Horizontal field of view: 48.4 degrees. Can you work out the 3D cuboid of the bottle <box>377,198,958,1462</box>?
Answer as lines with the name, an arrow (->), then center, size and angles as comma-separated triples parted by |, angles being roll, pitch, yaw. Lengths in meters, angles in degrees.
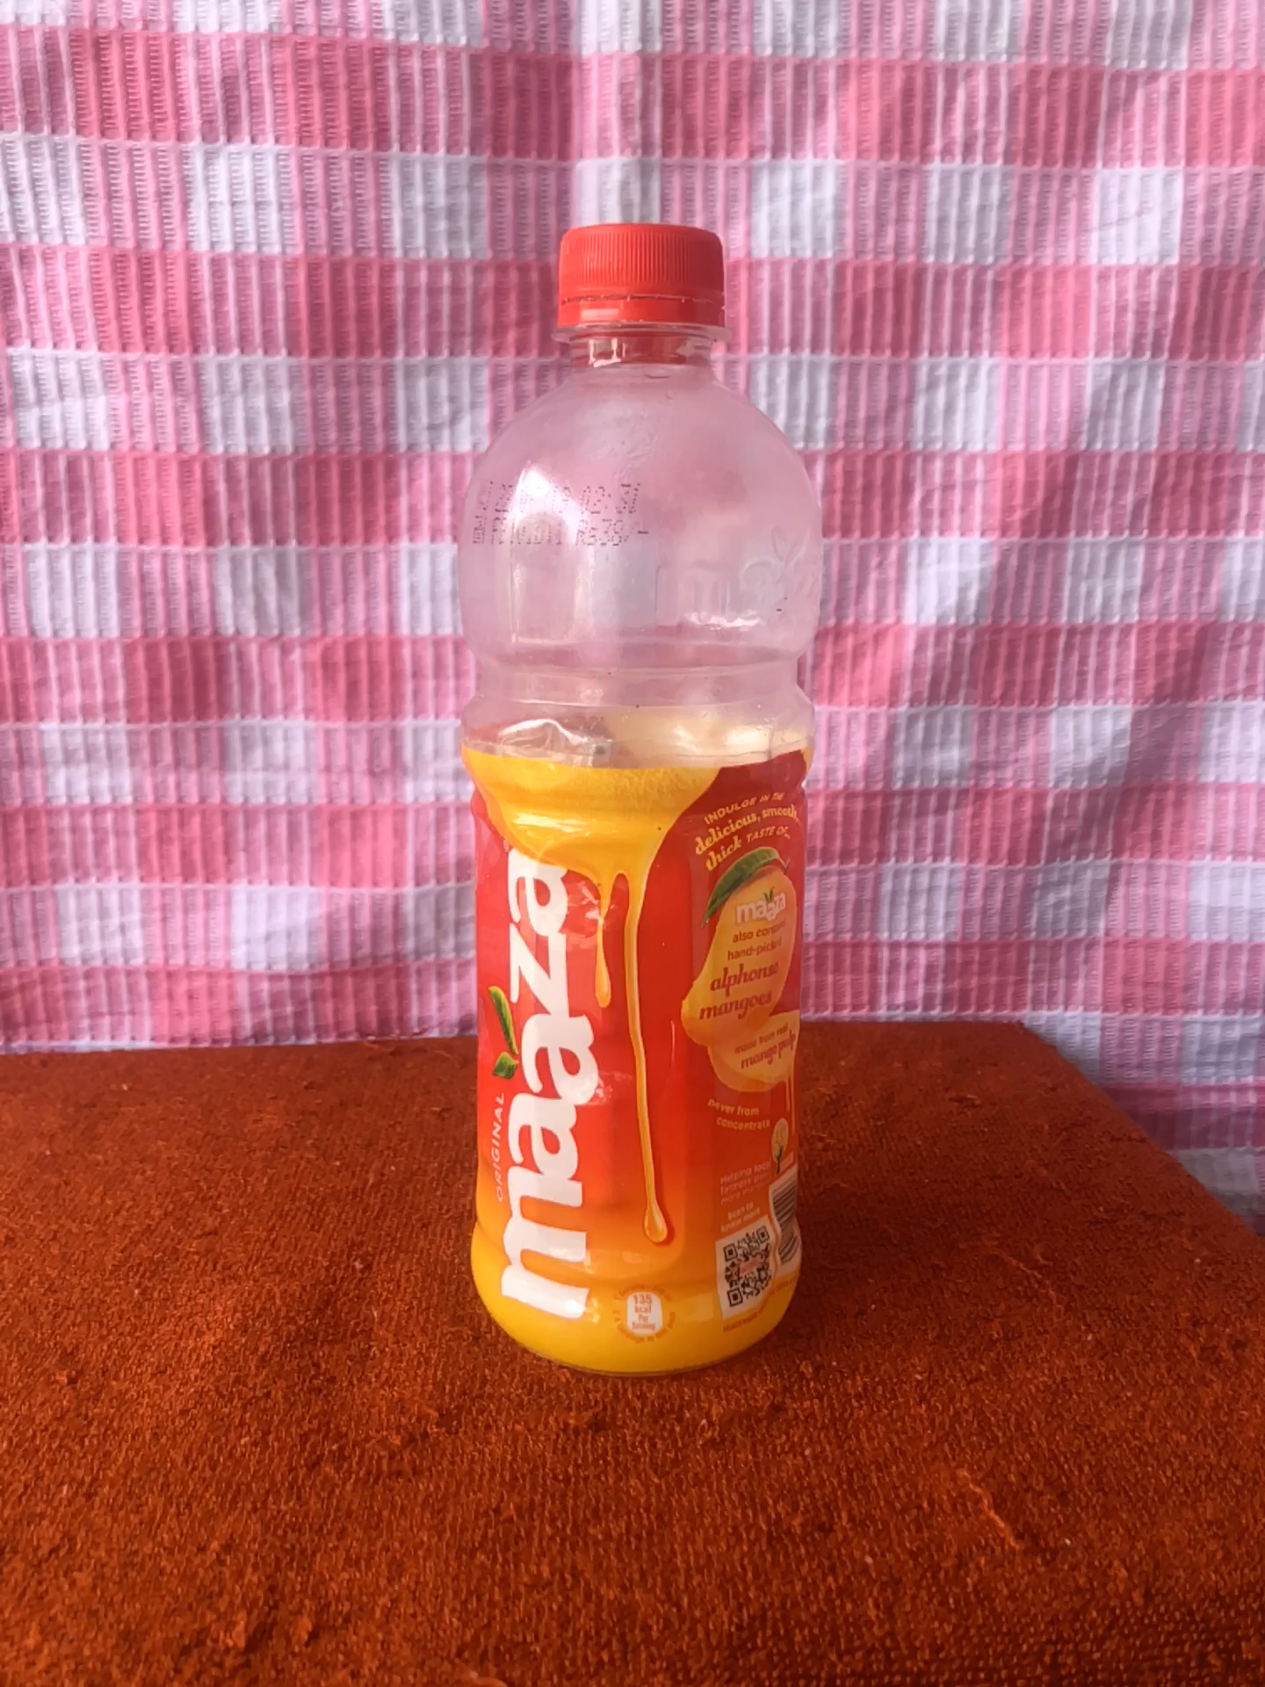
bottle -> 0.005, -0.004, 0.271 | 0.080, 0.209, 0.070 | 9, 17, 21
